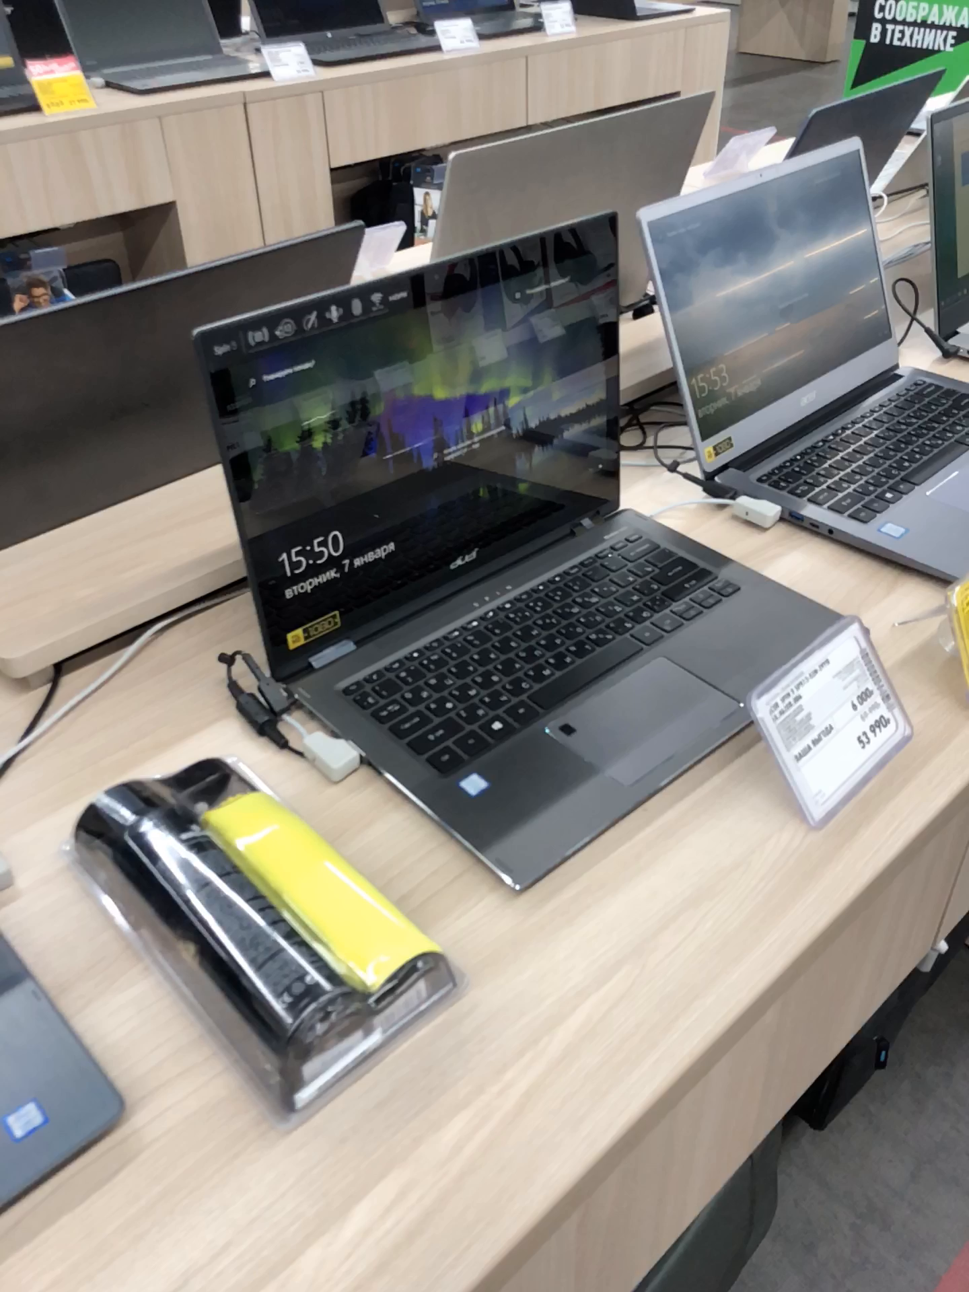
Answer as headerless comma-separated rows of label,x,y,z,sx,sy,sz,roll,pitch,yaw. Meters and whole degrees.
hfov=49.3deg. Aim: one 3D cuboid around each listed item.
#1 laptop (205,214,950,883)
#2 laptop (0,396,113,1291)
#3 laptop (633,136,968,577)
laptop,0.055,-0.087,0.624,0.315,0.215,0.246,-29,45,-32
laptop,-0.372,0.116,0.364,0.341,0.215,0.288,-31,46,-32
laptop,0.335,-0.248,0.835,0.271,0.196,0.299,-32,47,-32
